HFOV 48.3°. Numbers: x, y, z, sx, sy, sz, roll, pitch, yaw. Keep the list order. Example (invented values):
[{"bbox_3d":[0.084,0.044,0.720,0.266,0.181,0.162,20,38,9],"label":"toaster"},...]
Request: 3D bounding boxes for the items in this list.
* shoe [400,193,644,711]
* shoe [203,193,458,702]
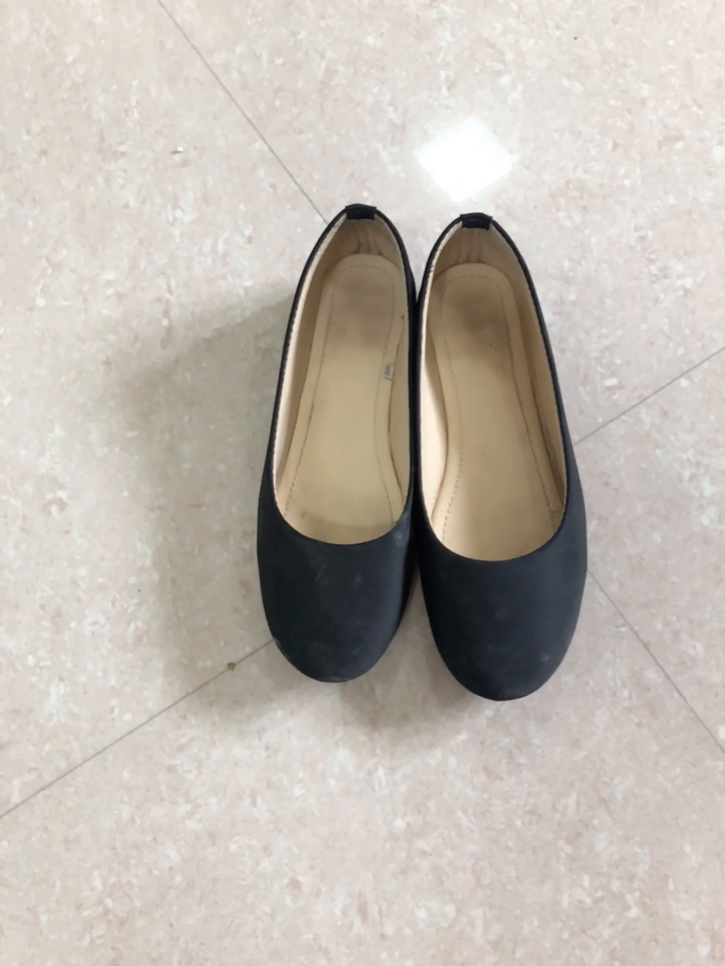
[{"bbox_3d":[0.068,-0.014,0.395,0.092,0.075,0.239,-2,73,5],"label":"shoe"},{"bbox_3d":[-0.007,-0.019,0.405,0.092,0.075,0.239,4,73,7],"label":"shoe"}]
